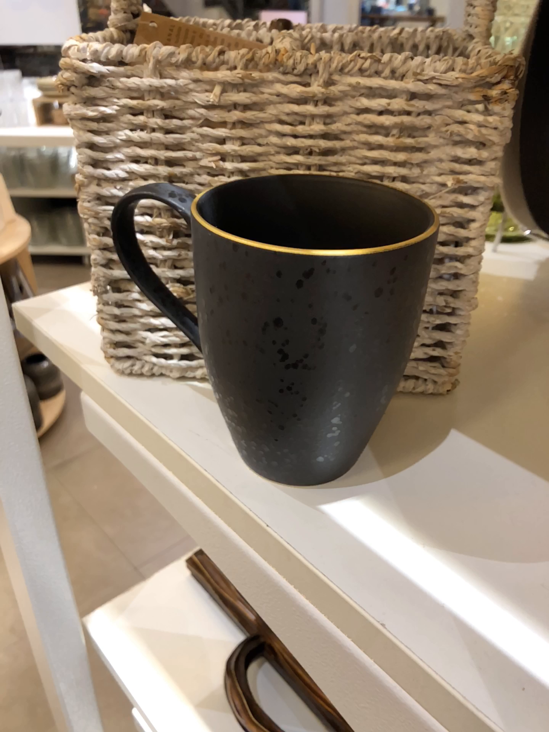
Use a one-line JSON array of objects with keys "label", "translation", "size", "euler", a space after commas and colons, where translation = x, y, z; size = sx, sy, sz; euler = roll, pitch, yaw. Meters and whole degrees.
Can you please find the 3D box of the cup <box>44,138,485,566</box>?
[{"label": "cup", "translation": [-0.006, -0.017, 0.225], "size": [0.120, 0.099, 0.080], "euler": [24, 39, 34]}]
